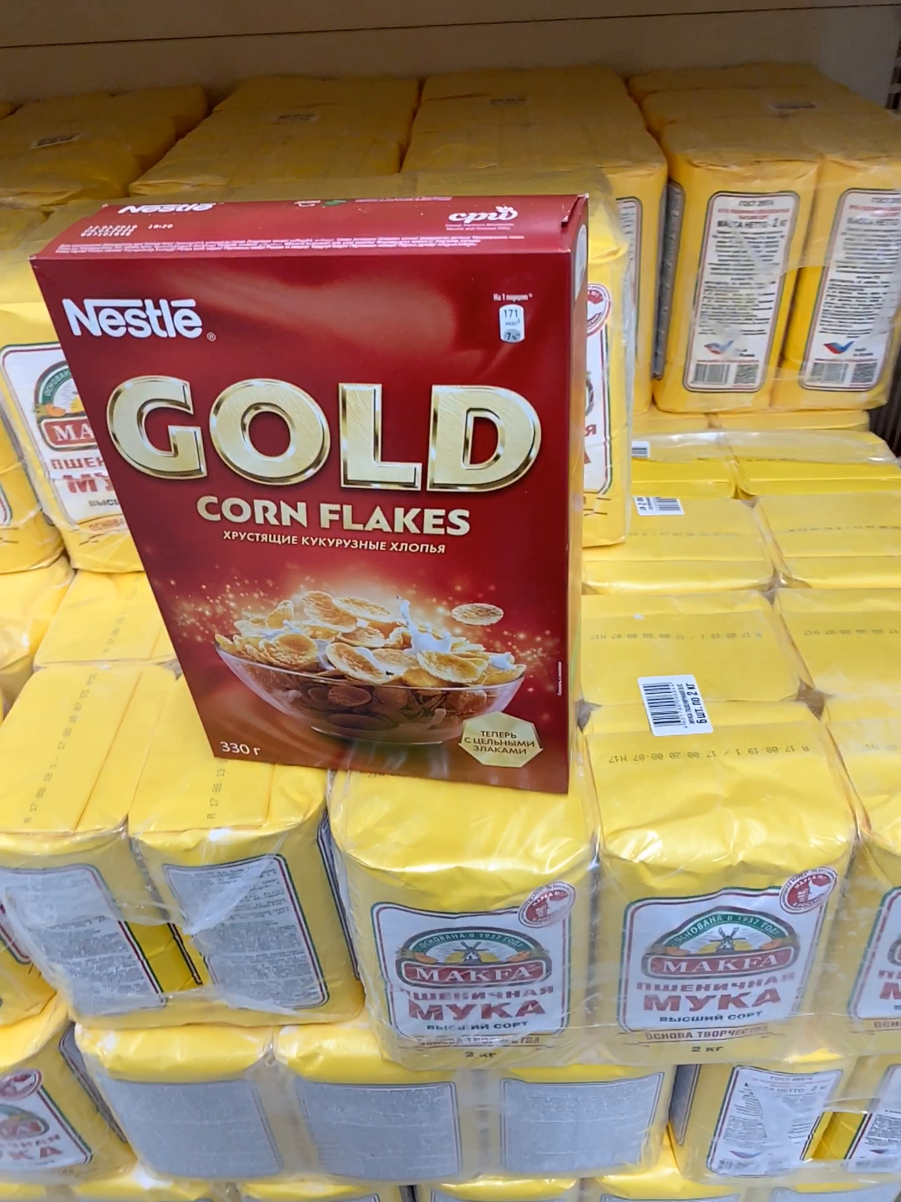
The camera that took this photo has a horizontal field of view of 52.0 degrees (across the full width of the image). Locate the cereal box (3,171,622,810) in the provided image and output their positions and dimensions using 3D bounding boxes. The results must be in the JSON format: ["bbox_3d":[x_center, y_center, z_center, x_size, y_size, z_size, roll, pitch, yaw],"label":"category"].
[{"bbox_3d":[-0.039,-0.033,0.423,0.210,0.287,0.071,5,41,10],"label":"cereal box"}]
